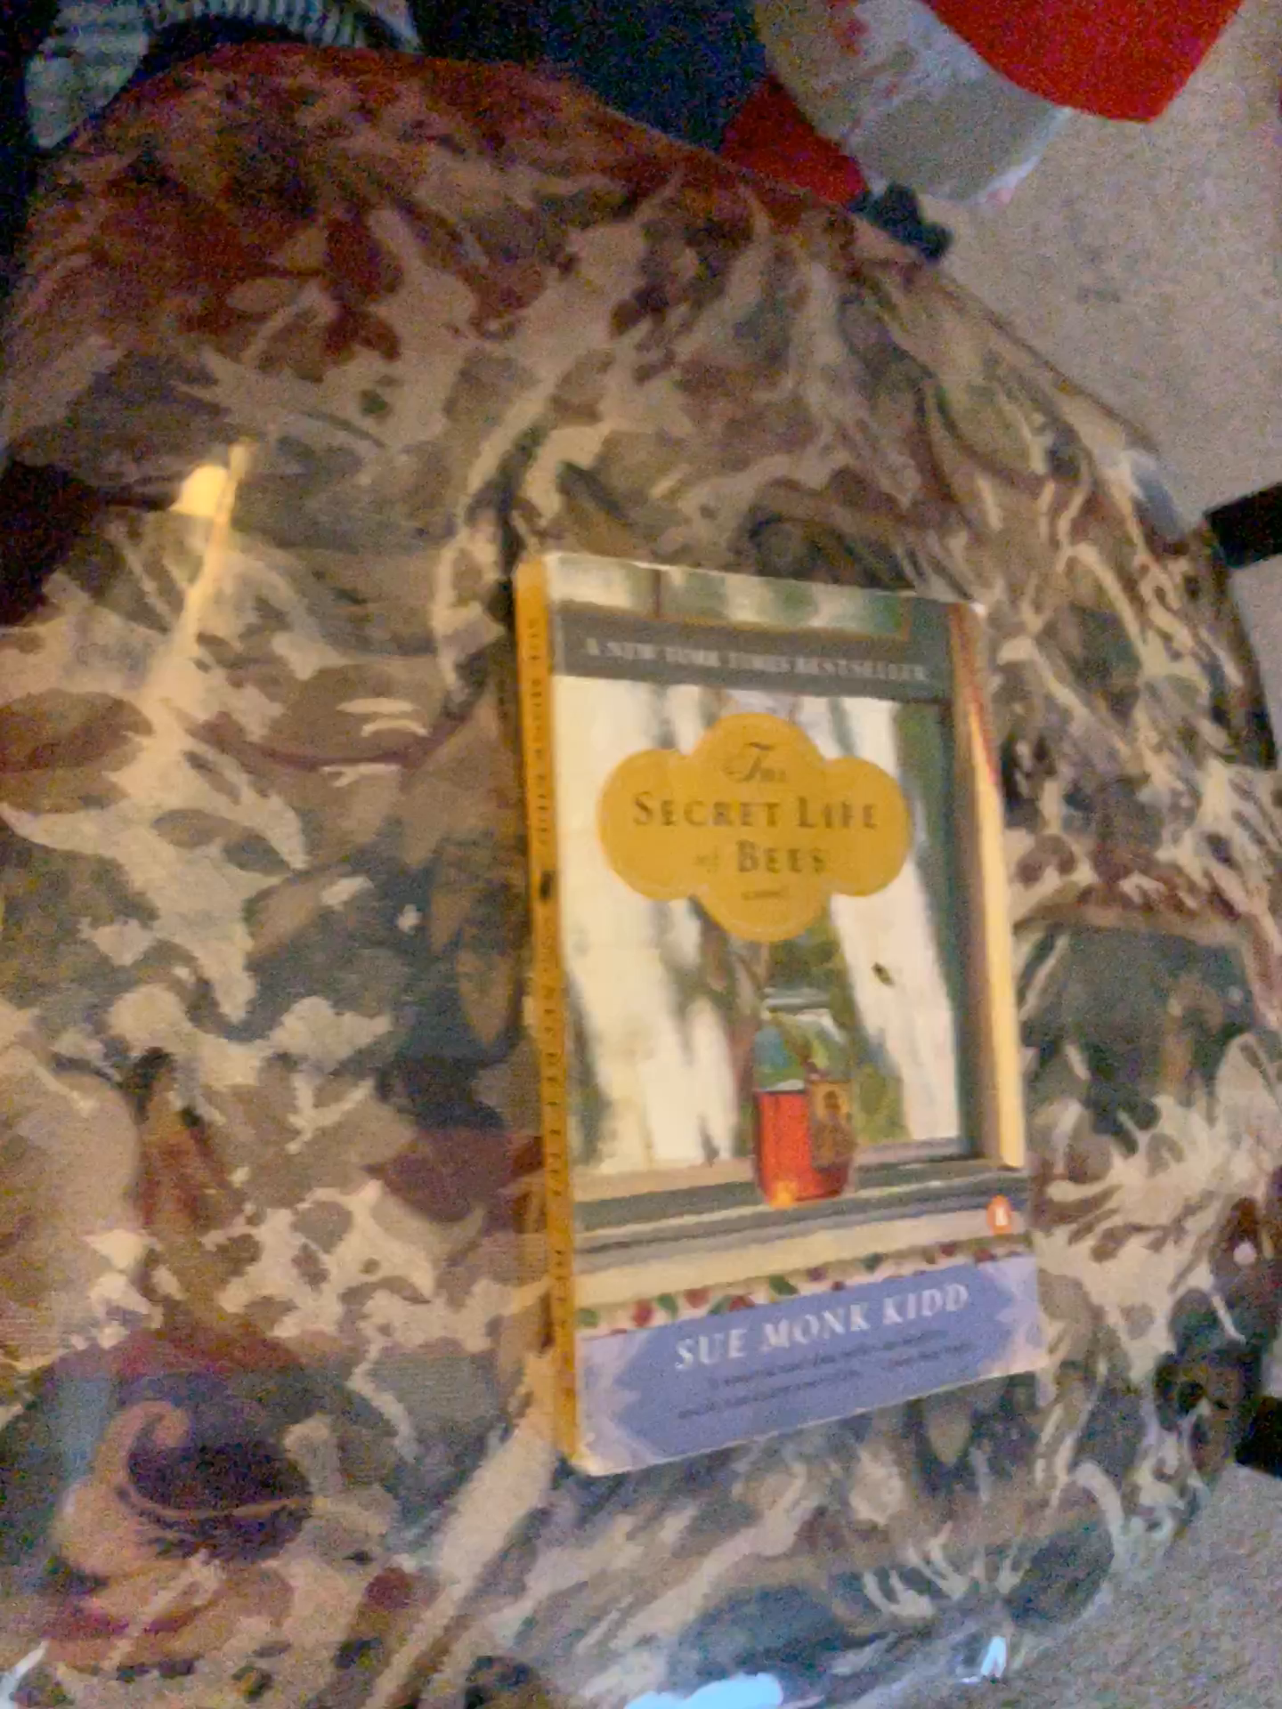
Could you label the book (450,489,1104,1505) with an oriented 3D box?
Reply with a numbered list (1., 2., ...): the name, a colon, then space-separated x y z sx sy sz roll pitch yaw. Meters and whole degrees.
1. book: 0.033 0.026 0.326 0.140 0.040 0.210 -1 82 -25
